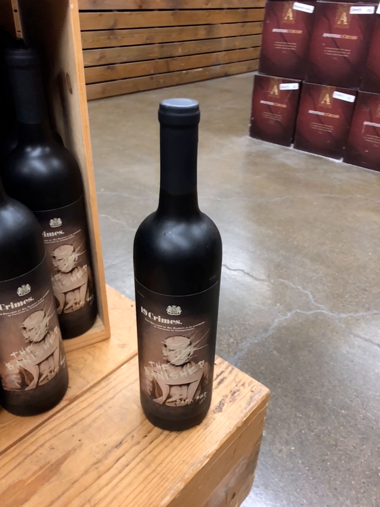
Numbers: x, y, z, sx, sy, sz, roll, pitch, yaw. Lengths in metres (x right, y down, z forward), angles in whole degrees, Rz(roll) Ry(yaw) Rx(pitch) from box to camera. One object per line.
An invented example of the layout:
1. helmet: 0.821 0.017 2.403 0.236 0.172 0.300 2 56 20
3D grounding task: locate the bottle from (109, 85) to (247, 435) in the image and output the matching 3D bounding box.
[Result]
1. bottle: -0.011 0.024 0.356 0.080 0.299 0.080 1 32 -1
